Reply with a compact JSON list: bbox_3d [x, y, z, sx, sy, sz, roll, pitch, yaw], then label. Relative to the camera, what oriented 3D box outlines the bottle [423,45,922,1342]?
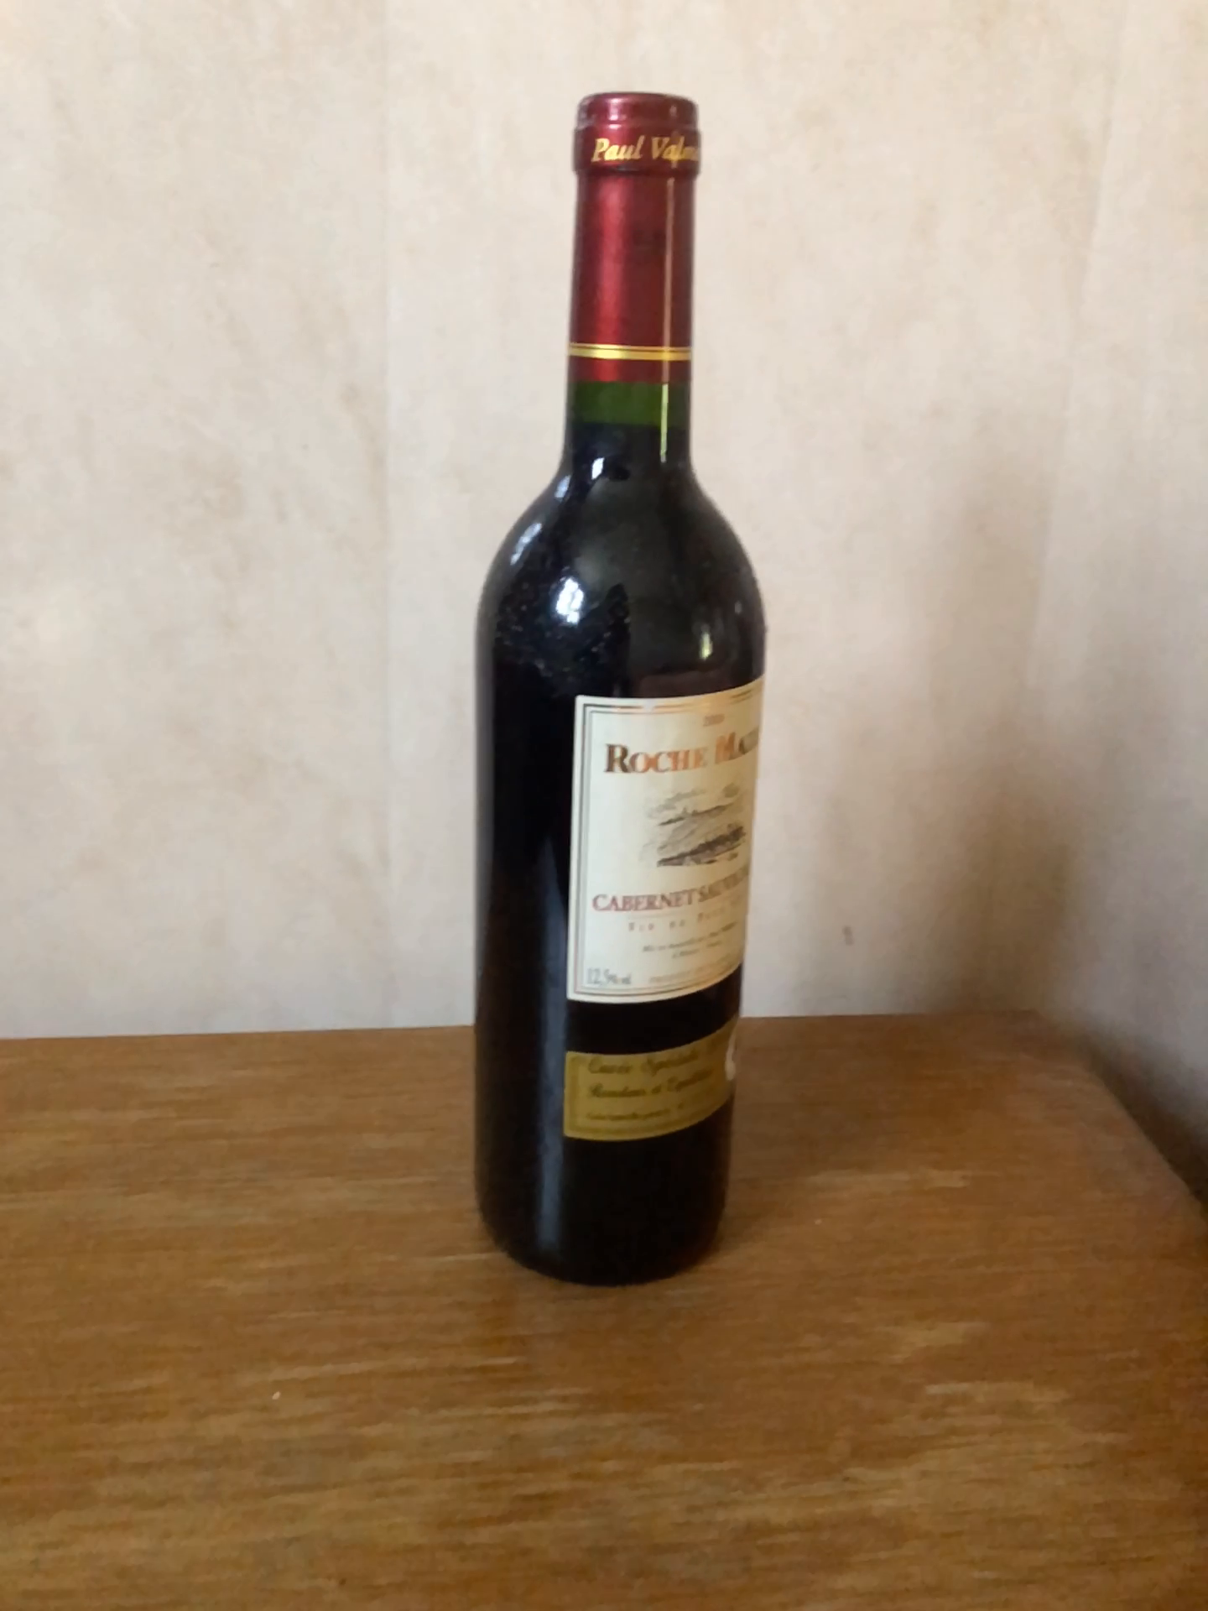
[{"bbox_3d":[0.008,-0.020,0.352,0.080,0.299,0.080,3,19,-1],"label":"bottle"}]
